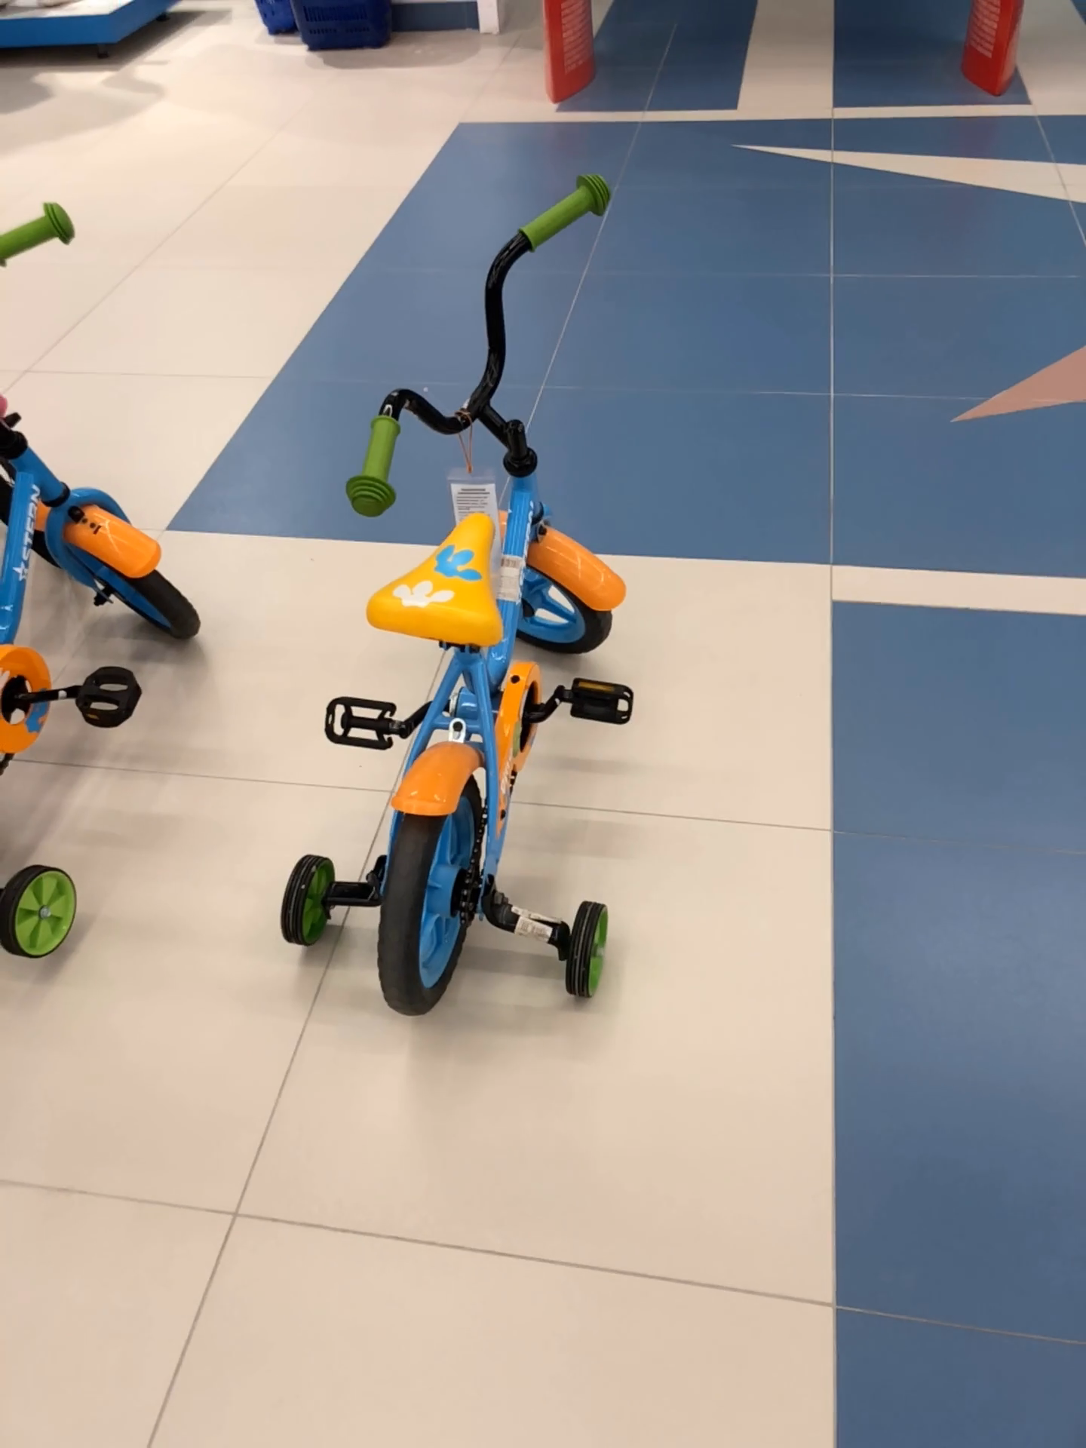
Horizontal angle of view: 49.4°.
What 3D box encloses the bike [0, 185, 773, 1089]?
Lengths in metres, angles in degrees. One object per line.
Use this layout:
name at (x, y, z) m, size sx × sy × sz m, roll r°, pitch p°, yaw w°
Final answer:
bike at (-0.117, -0.120, 1.325) m, size 0.564 × 0.681 × 0.754 m, roll -2°, pitch 41°, yaw 3°
